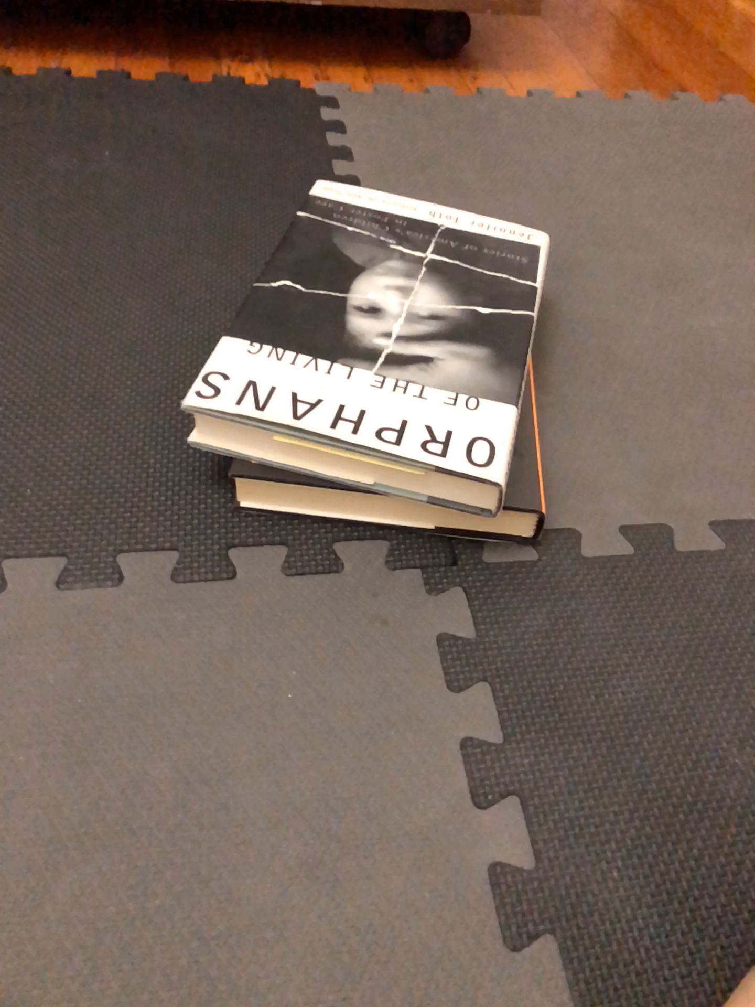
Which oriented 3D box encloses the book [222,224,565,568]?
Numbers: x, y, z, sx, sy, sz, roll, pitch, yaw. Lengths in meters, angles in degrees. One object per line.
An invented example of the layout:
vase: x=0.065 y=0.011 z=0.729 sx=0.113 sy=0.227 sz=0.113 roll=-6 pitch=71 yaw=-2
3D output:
book: x=0.012 y=-0.077 z=0.482 sx=0.160 sy=0.030 sz=0.251 roll=5 pitch=47 yaw=-2

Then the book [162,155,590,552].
book: x=0.020 y=-0.107 z=0.470 sx=0.180 sy=0.030 sz=0.282 roll=13 pitch=47 yaw=5
